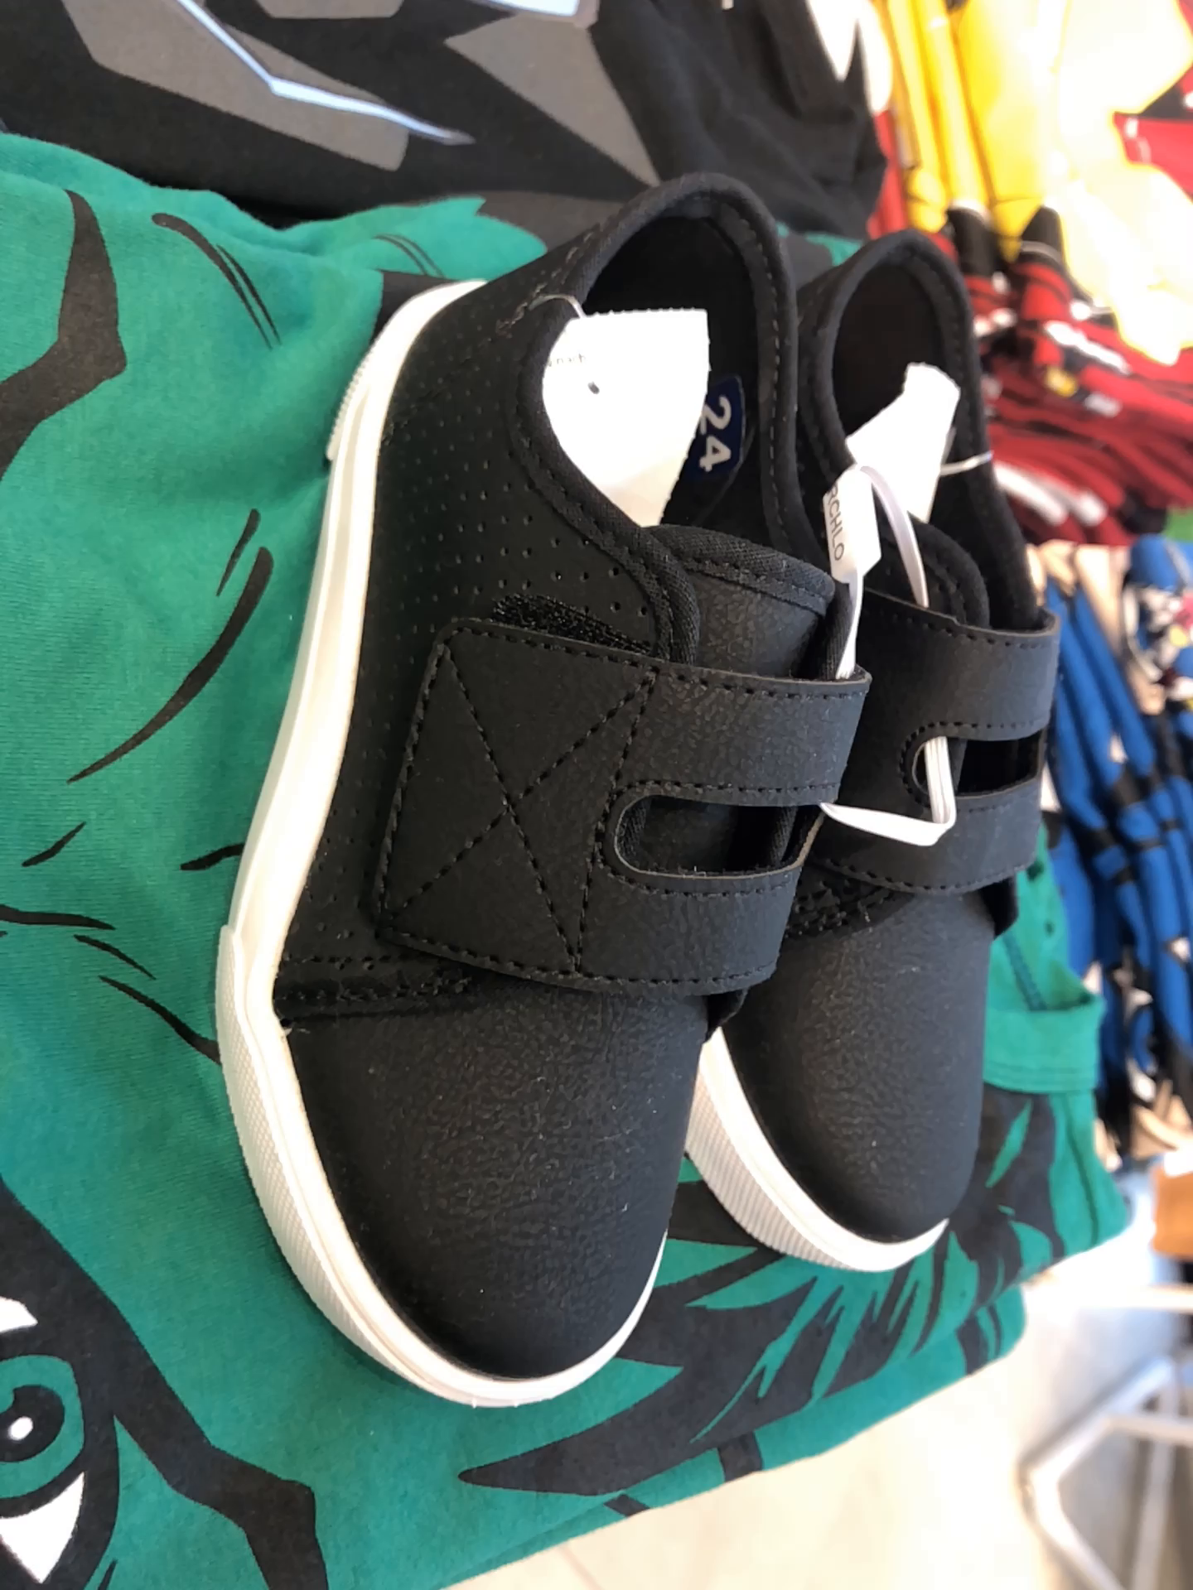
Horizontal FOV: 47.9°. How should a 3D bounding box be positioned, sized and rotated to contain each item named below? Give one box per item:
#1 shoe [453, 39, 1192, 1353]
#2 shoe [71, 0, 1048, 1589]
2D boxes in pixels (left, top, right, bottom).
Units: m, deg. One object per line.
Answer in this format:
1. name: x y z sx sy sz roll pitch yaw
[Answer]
1. shoe: 0.044 -0.010 0.233 0.091 0.089 0.170 3 79 -44
2. shoe: -0.006 0.000 0.183 0.080 0.089 0.170 12 73 -43
